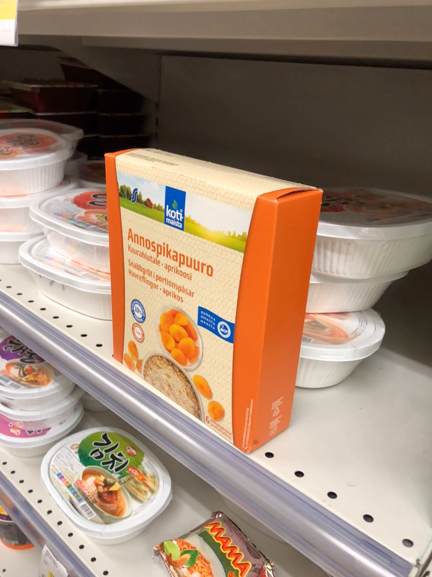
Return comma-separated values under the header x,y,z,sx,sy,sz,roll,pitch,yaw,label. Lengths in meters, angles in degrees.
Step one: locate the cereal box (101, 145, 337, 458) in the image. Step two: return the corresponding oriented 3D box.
x,y,z,sx,sy,sz,roll,pitch,yaw,label
-0.012,-0.003,0.362,0.060,0.179,0.170,-18,32,-41,cereal box
